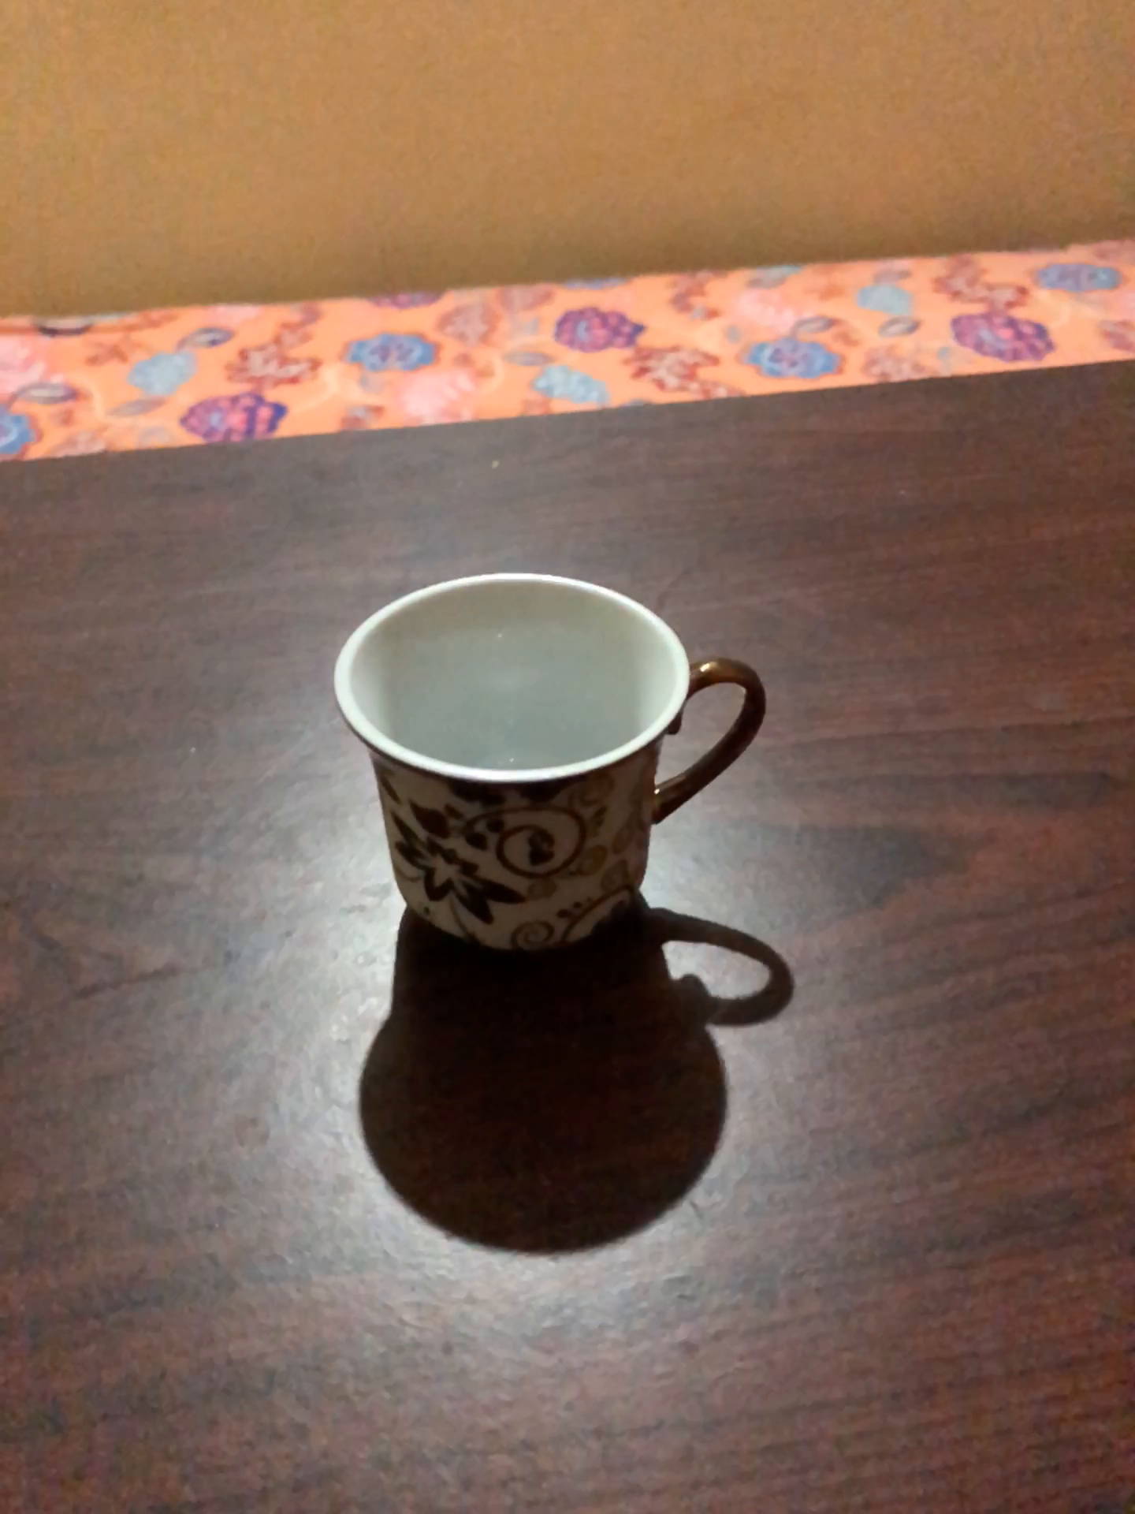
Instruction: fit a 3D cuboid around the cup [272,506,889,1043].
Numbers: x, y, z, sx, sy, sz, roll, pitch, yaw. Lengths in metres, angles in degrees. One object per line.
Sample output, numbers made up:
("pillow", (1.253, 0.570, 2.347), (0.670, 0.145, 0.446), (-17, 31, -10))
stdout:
("cup", (-0.001, -0.001, 0.236), (0.090, 0.050, 0.070), (-12, 41, -13))
